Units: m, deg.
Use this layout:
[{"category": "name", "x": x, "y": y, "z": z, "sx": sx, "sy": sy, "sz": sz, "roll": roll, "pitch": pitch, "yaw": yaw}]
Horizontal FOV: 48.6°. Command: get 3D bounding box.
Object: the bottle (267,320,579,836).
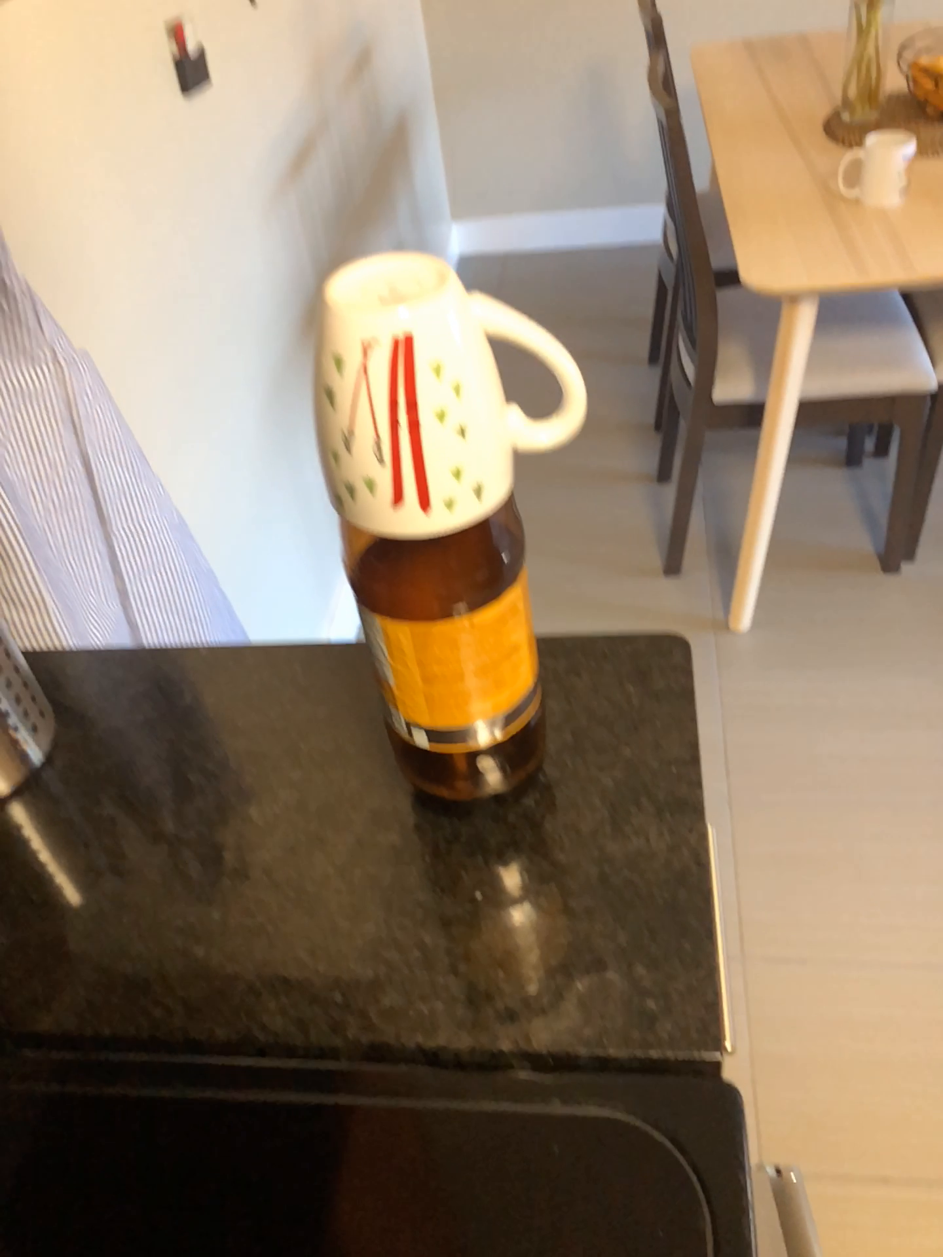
[{"category": "bottle", "x": -0.014, "y": -0.021, "z": 0.612, "sx": 0.100, "sy": 0.279, "sz": 0.100, "roll": -6, "pitch": 41, "yaw": 5}]
